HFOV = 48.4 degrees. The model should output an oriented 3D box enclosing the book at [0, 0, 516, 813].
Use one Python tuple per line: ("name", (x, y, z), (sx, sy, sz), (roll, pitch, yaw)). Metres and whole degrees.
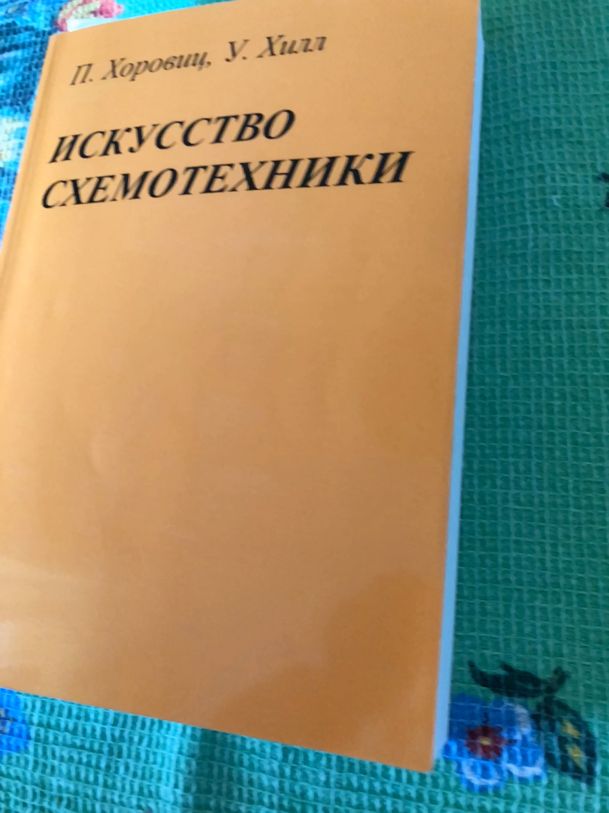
("book", (-0.024, -0.027, 0.237), (0.180, 0.050, 0.261), (2, 70, 18))
